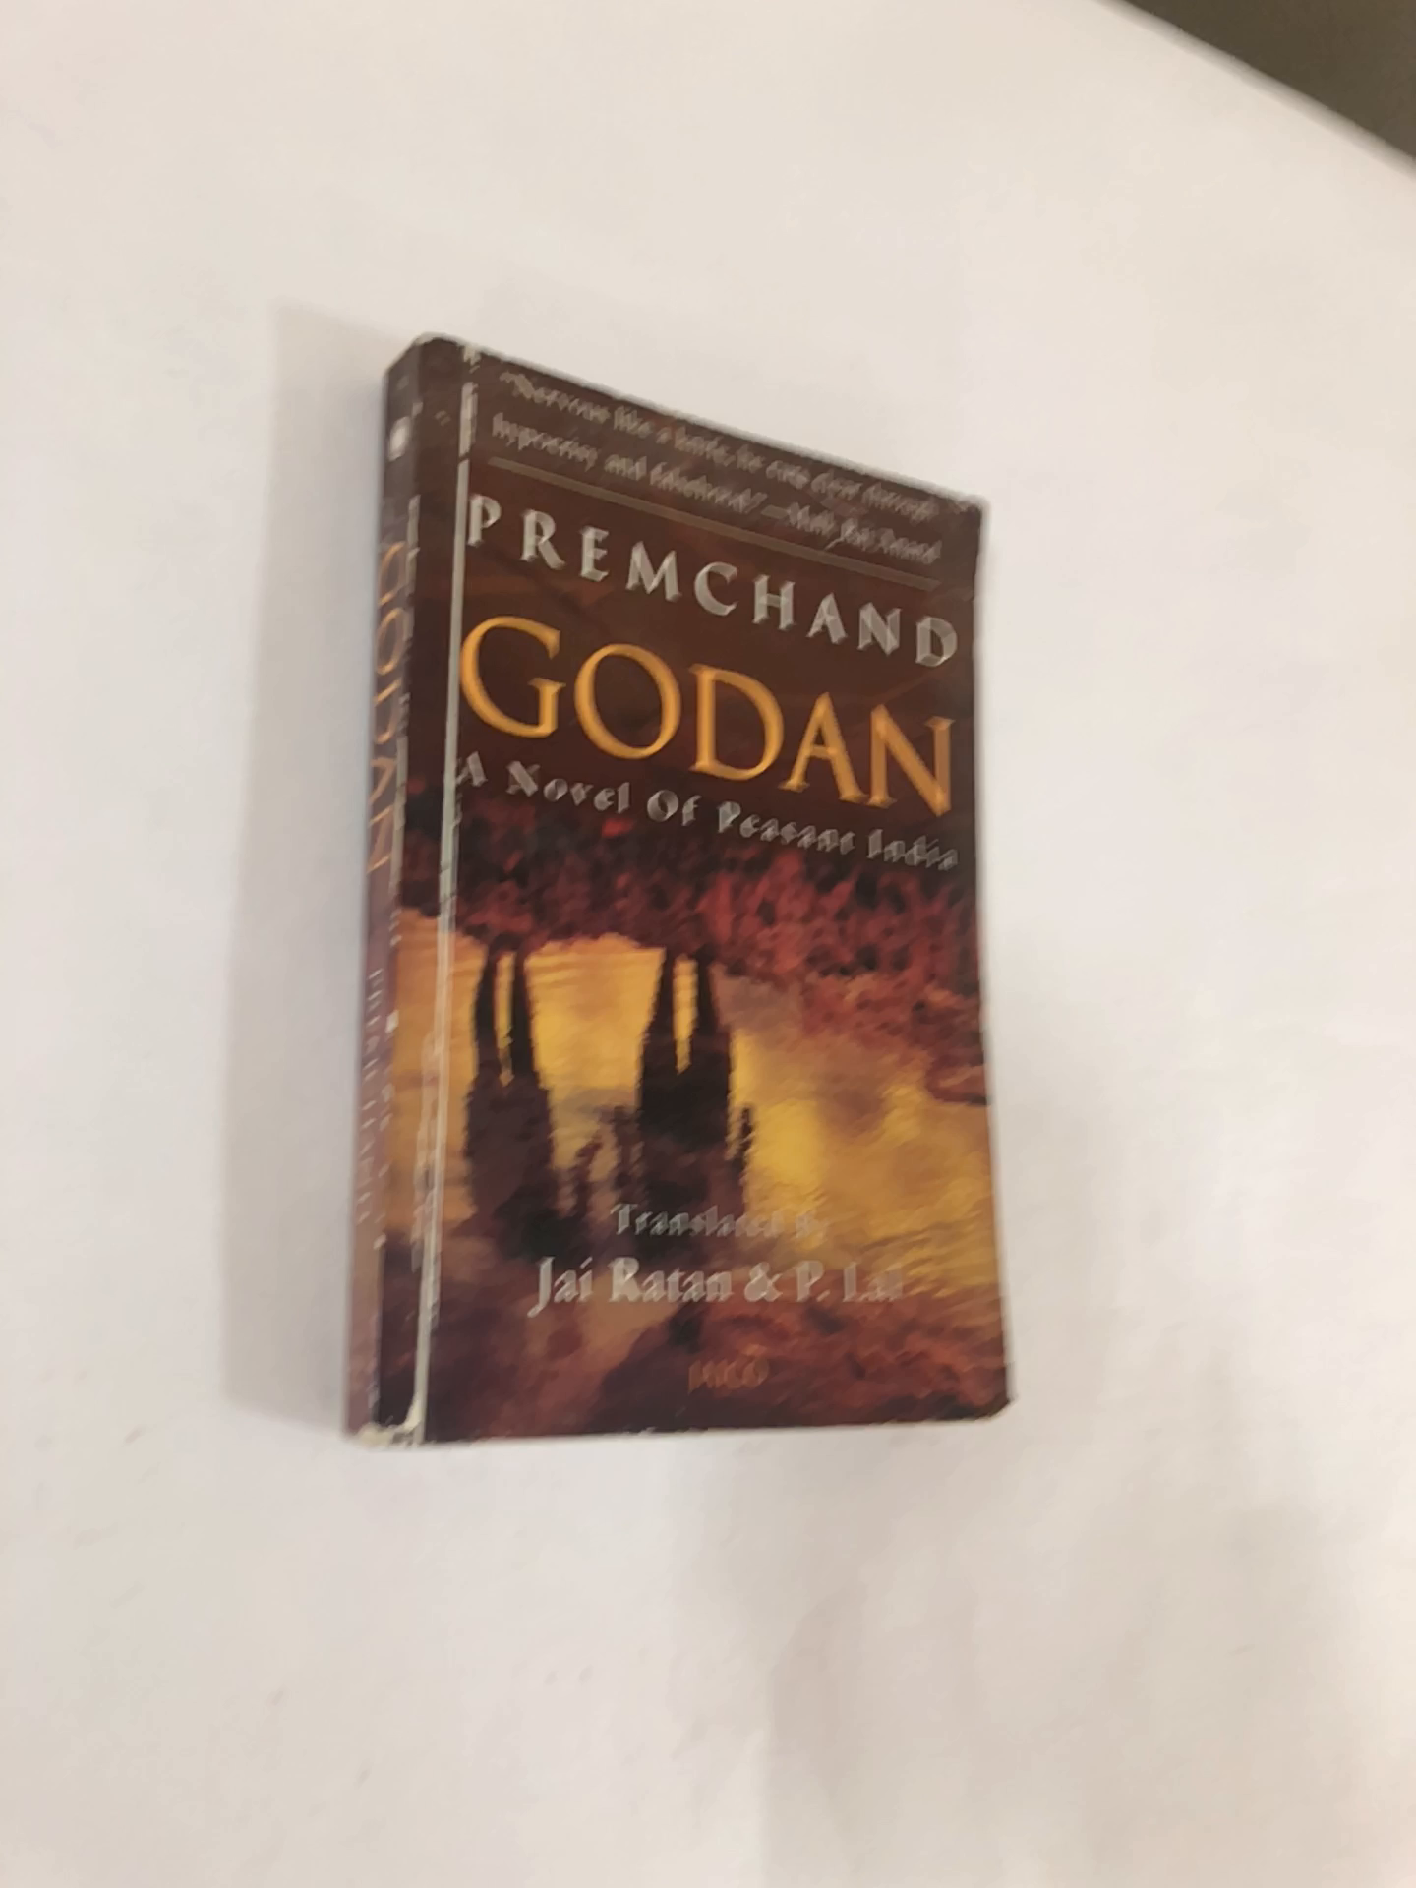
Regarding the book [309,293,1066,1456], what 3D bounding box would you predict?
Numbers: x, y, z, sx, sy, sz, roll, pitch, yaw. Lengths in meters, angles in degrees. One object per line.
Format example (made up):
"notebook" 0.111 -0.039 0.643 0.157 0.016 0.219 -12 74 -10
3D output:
"book" 0.004 -0.008 0.324 0.150 0.030 0.210 9 75 -30
